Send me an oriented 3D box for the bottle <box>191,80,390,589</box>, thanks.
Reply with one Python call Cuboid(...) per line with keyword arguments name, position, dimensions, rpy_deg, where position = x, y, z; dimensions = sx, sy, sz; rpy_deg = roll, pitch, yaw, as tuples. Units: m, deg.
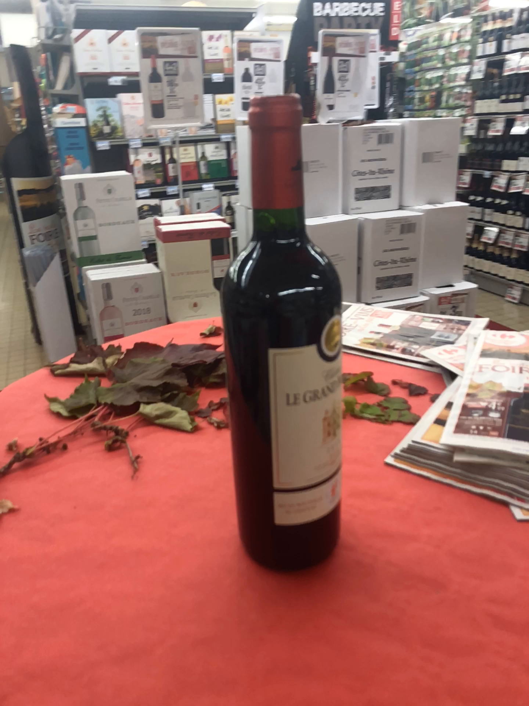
Cuboid(name="bottle", position=(0.023, -0.007, 0.371), dimensions=(0.080, 0.299, 0.080), rpy_deg=(-2, 21, 1))
